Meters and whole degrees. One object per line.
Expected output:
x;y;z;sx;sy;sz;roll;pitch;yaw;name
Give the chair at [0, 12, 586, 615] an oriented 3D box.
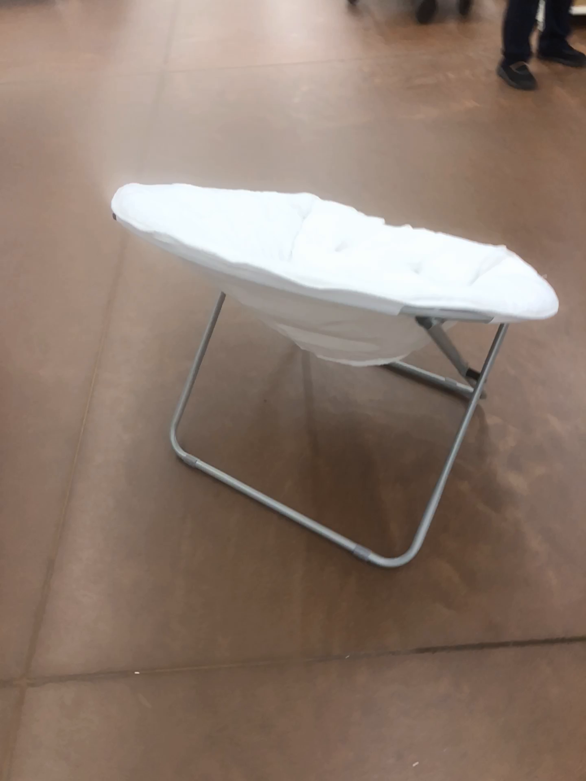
0.087;-0.214;1.240;0.761;0.648;0.751;24;52;25;chair
